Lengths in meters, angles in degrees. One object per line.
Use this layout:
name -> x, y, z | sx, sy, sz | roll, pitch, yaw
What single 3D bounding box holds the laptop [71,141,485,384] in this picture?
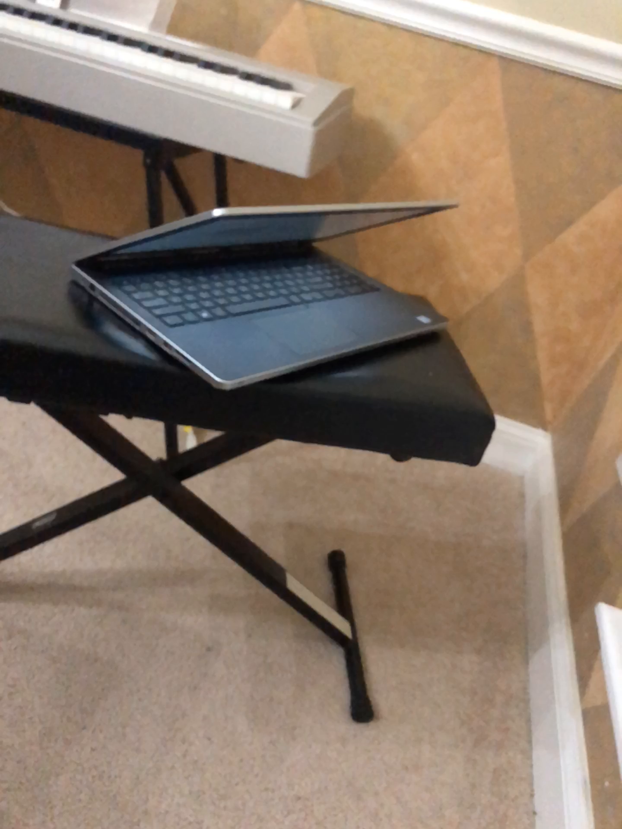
laptop -> -0.028, -0.197, 0.795 | 0.262, 0.136, 0.377 | 36, 37, 30
